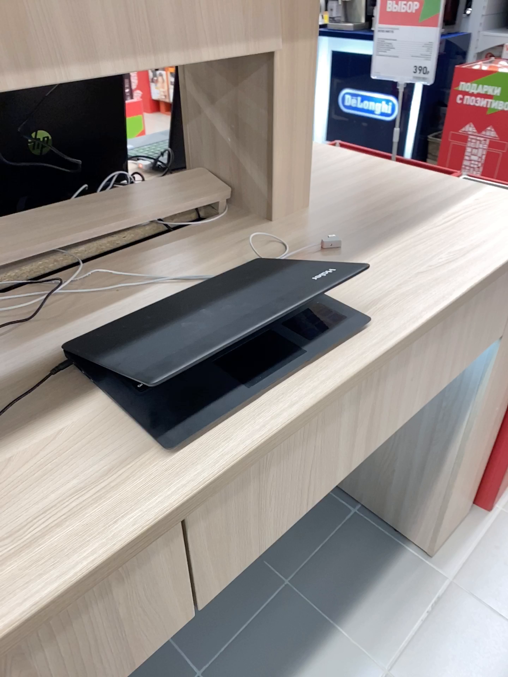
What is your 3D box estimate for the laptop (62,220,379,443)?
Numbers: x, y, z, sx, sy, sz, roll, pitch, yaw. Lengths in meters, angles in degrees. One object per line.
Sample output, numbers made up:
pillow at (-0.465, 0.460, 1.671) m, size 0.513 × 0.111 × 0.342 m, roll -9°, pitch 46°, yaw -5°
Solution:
laptop at (-0.030, -0.036, 0.624) m, size 0.320 × 0.072 × 0.202 m, roll -29°, pitch 44°, yaw -34°
